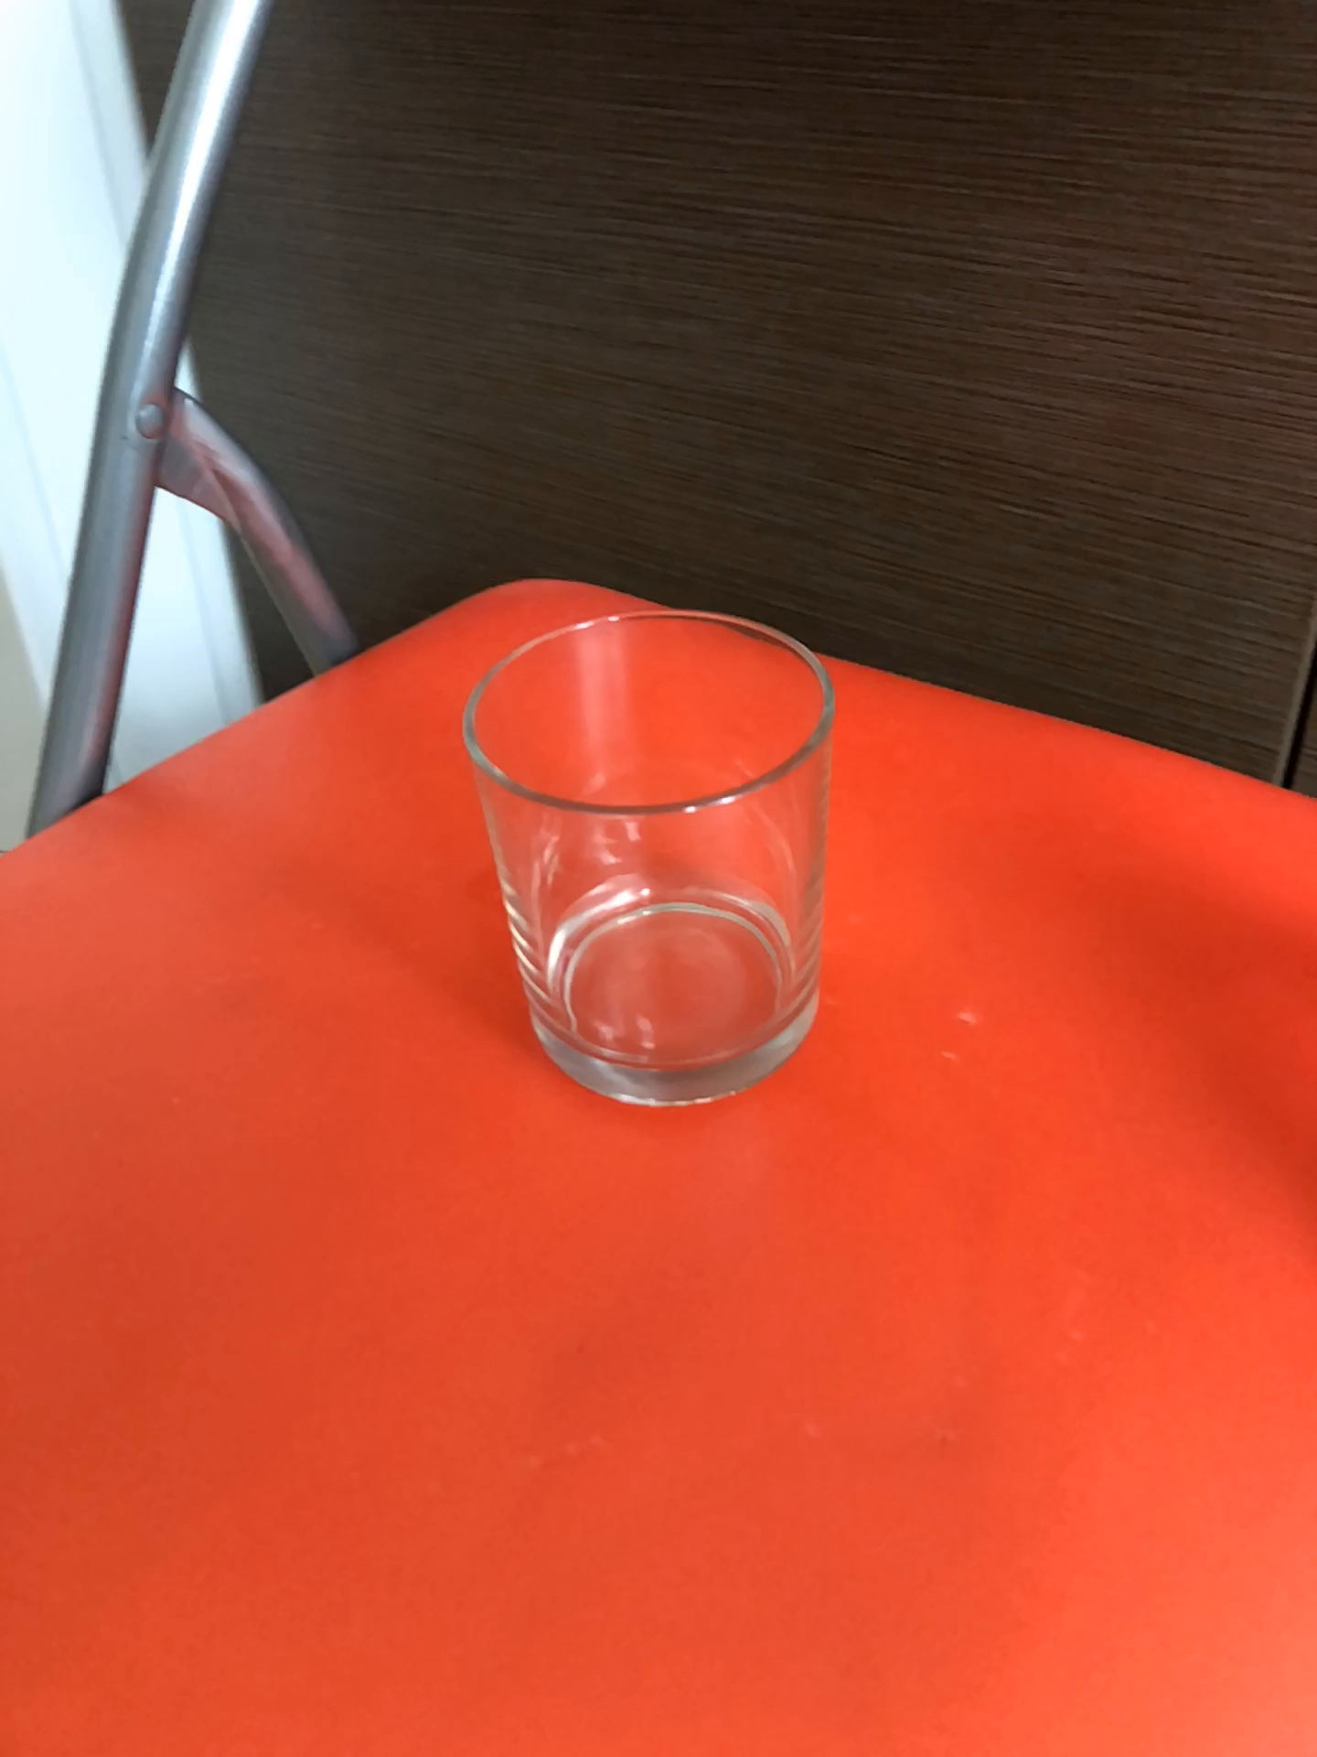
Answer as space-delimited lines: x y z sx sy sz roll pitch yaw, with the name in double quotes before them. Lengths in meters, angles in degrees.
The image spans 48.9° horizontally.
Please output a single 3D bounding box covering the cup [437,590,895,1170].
"cup" 0.001 -0.001 0.300 0.077 0.082 0.081 -2 38 2
